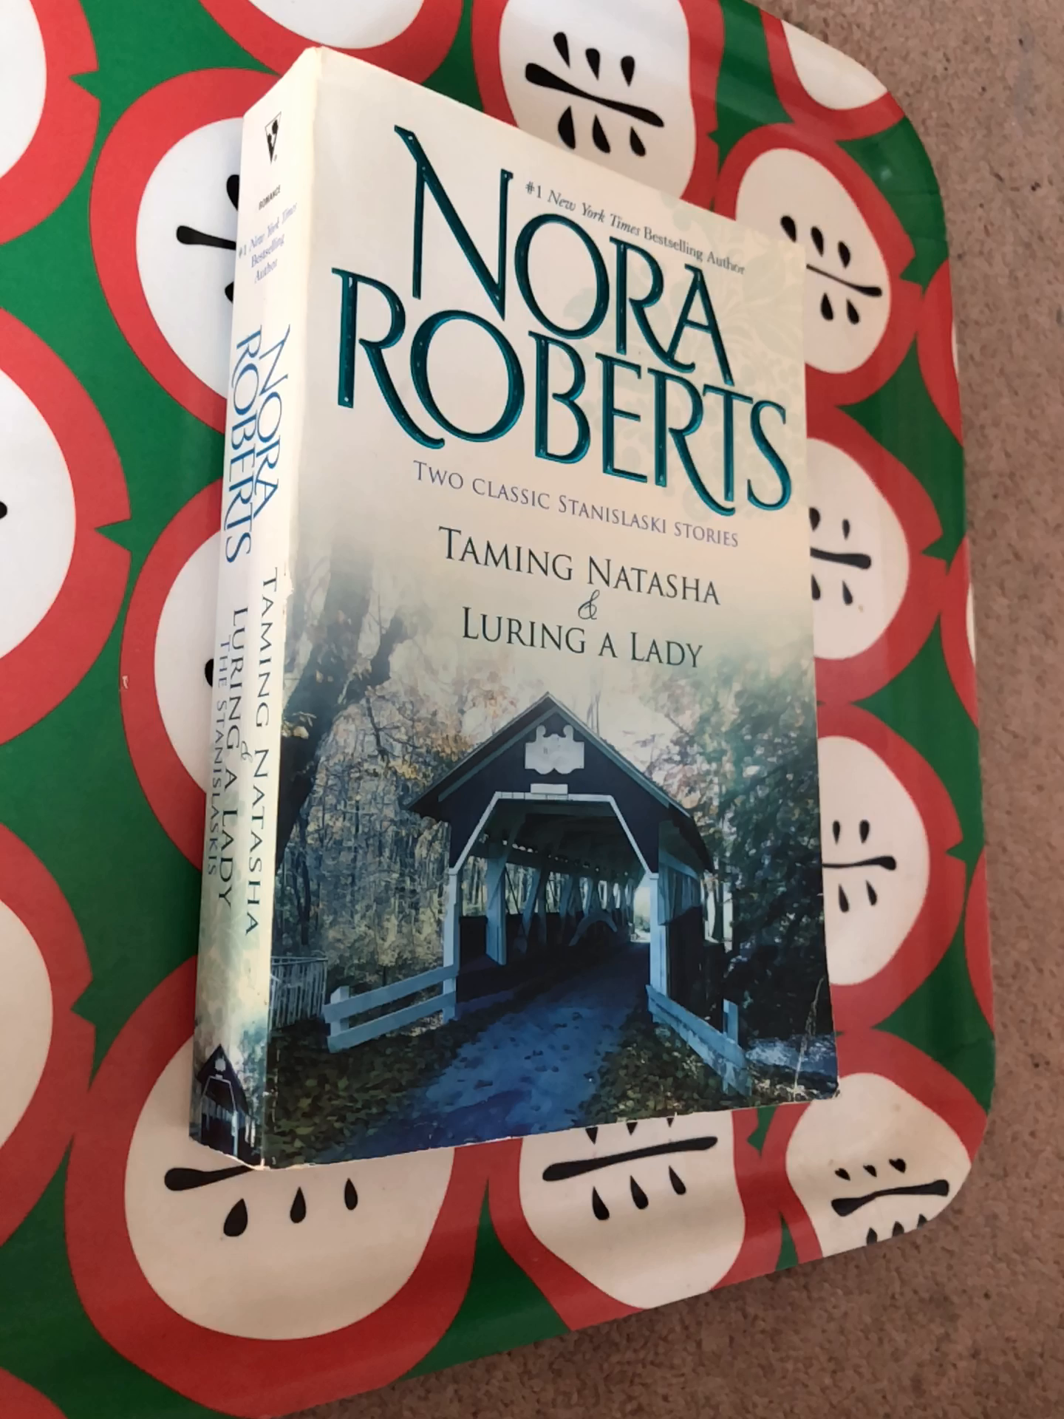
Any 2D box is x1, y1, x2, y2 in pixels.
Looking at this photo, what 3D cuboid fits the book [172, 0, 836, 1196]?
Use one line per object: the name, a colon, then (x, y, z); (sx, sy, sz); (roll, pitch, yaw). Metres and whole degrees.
book: (0.003, -0.022, 0.262); (0.140, 0.040, 0.220); (6, 82, -33)
